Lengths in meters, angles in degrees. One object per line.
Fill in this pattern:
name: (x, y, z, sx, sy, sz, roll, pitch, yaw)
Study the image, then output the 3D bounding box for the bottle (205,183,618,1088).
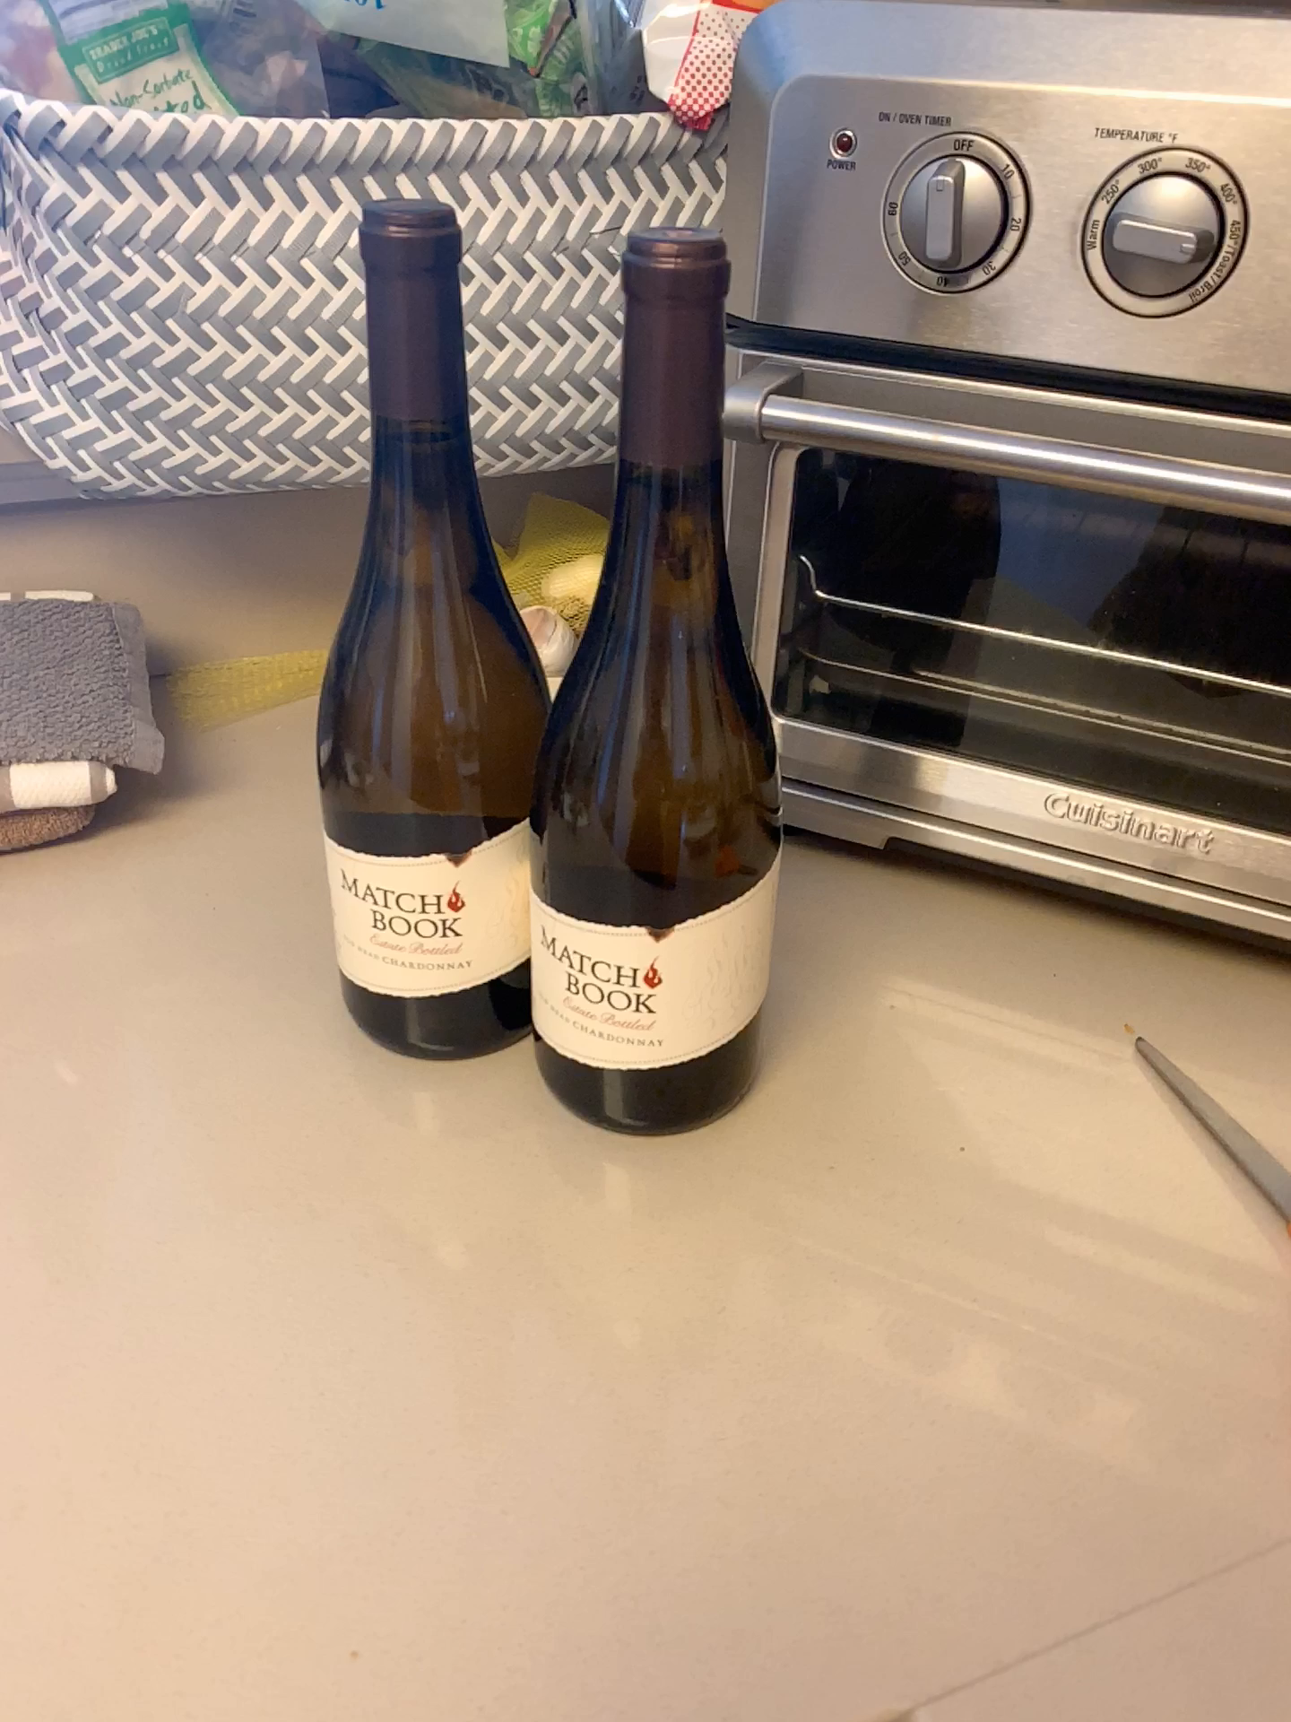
bottle: (-0.067, -0.067, 0.461, 0.090, 0.288, 0.090, 1, 33, -1)

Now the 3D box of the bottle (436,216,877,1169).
bottle: (0.003, -0.045, 0.425, 0.090, 0.278, 0.090, 1, 33, -1)
